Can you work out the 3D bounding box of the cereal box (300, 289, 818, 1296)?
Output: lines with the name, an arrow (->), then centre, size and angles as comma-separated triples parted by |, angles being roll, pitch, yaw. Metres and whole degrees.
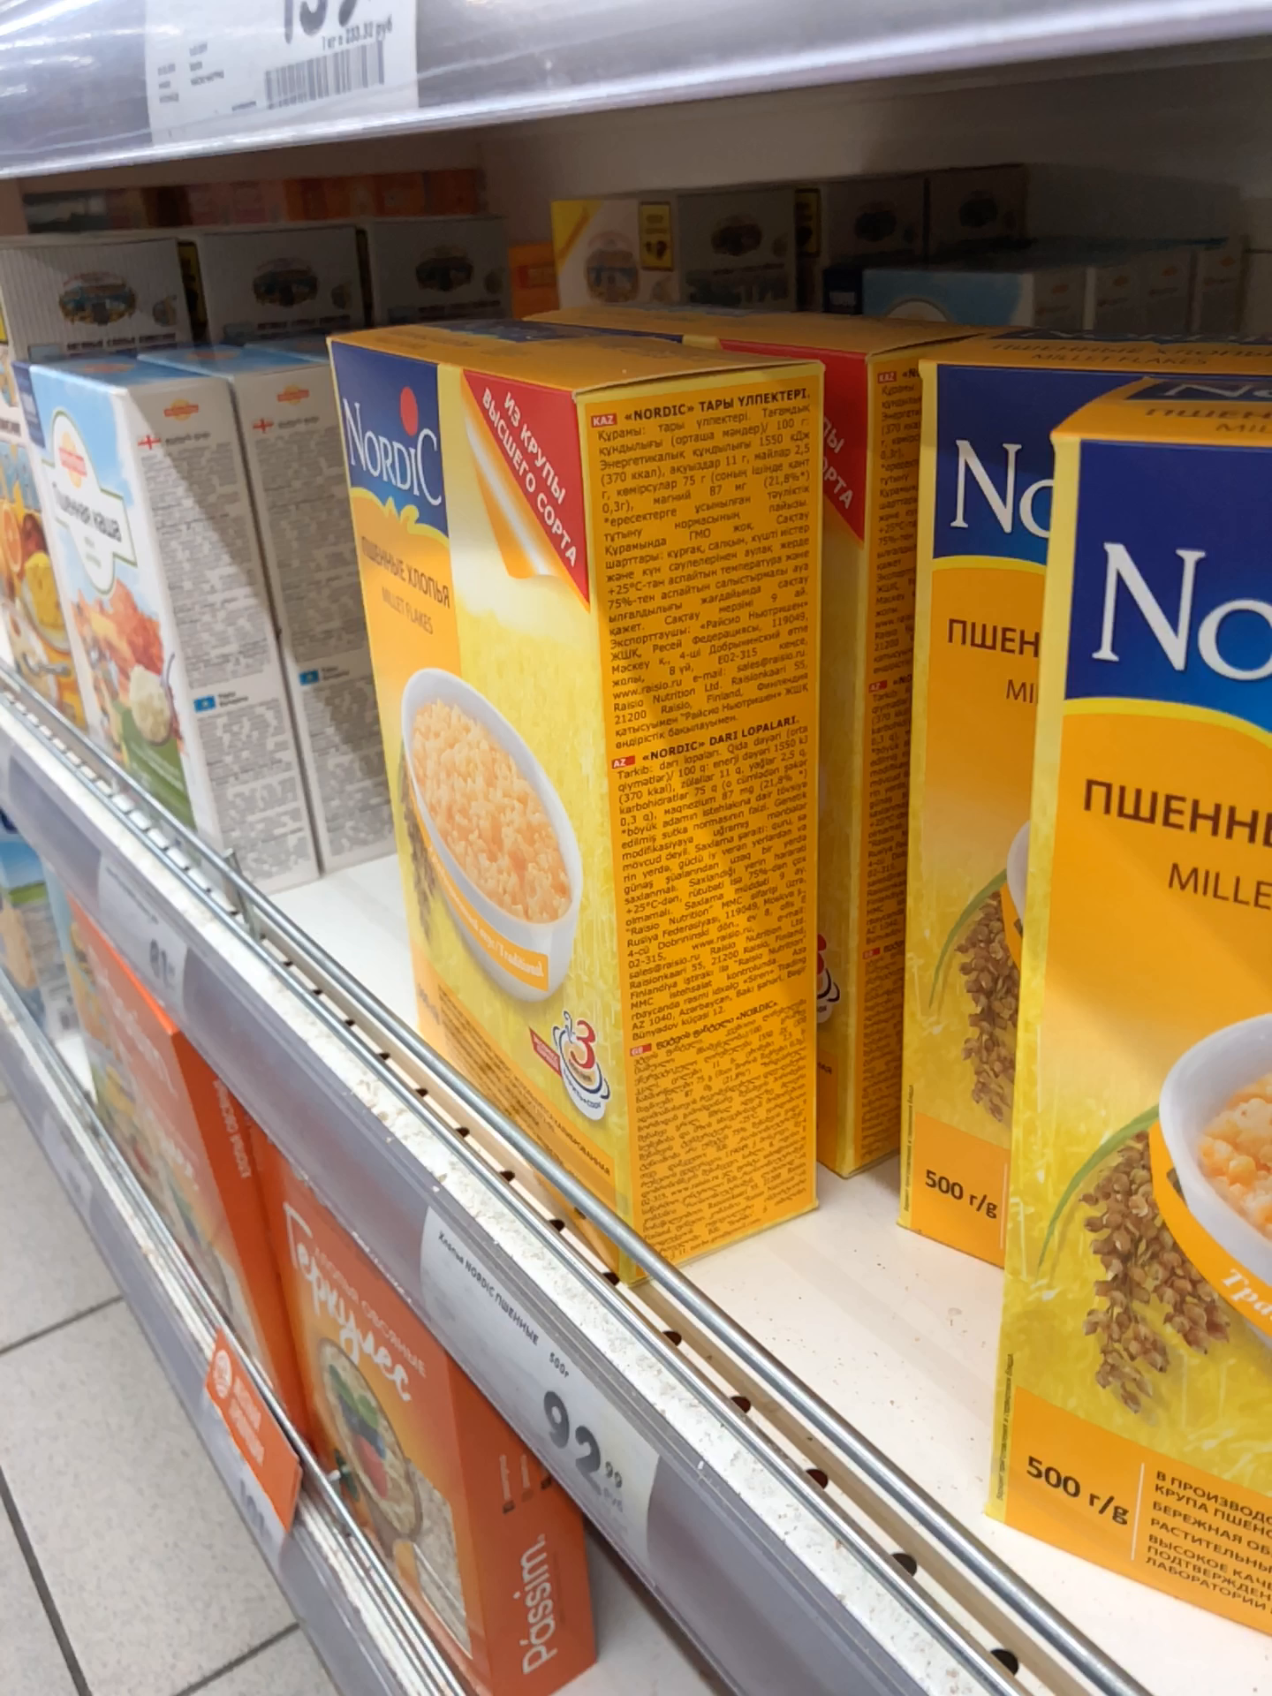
cereal box -> -0.020, -0.023, 0.353 | 0.060, 0.209, 0.141 | -15, 27, -24
